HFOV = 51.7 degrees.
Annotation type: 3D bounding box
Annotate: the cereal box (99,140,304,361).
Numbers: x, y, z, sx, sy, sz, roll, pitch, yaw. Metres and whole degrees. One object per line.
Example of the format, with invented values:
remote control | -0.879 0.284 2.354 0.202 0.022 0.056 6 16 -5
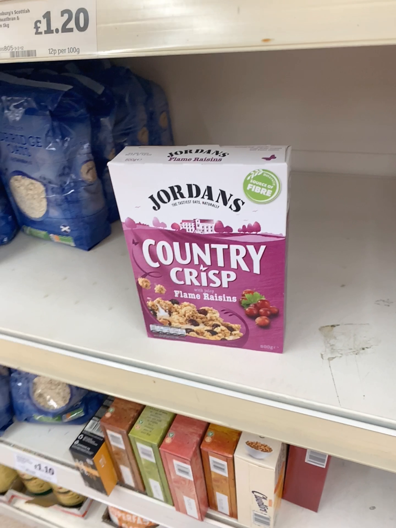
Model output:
cereal box | 0.013 -0.008 0.480 0.200 0.258 0.050 4 34 14
